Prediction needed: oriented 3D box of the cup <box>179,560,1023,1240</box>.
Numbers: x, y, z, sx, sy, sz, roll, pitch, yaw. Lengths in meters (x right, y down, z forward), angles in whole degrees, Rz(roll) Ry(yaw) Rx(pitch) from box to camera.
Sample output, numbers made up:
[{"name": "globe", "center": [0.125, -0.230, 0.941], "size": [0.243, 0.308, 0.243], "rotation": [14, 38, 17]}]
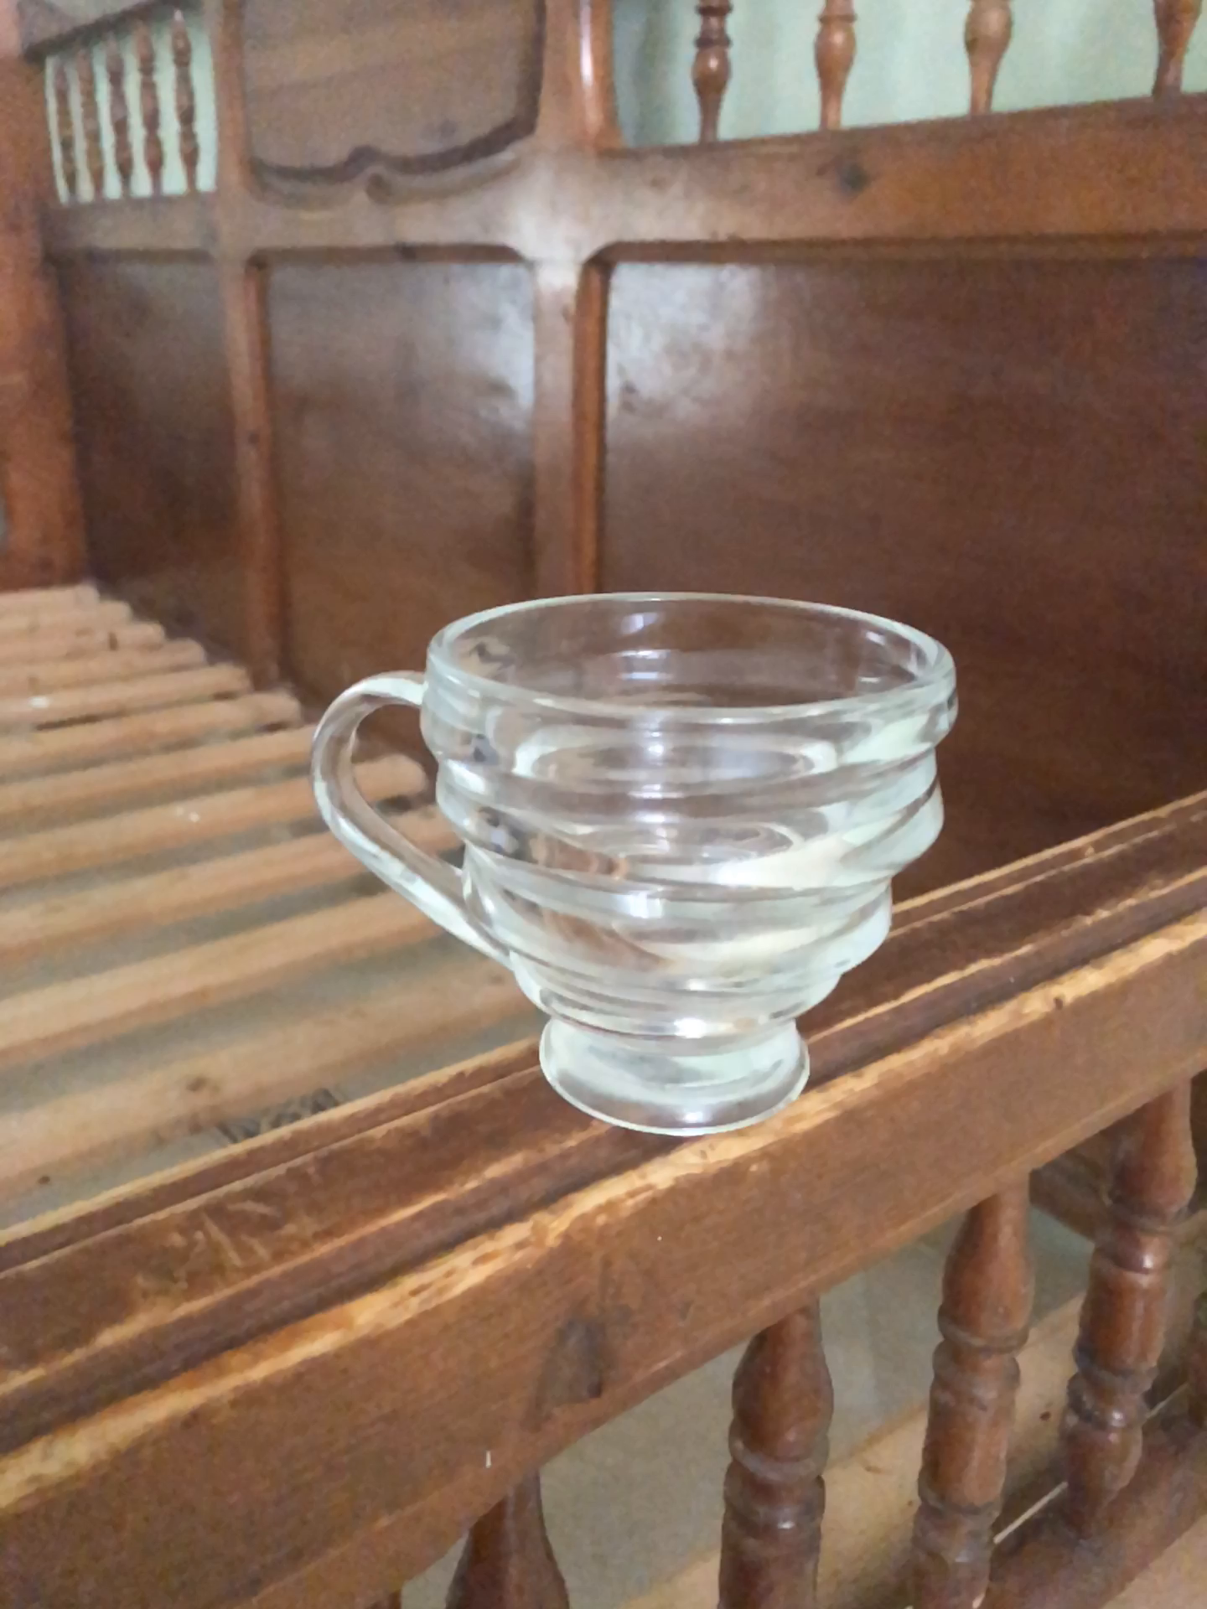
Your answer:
[{"name": "cup", "center": [0.002, 0.004, 0.216], "size": [0.106, 0.065, 0.076], "rotation": [11, 23, 26]}]
